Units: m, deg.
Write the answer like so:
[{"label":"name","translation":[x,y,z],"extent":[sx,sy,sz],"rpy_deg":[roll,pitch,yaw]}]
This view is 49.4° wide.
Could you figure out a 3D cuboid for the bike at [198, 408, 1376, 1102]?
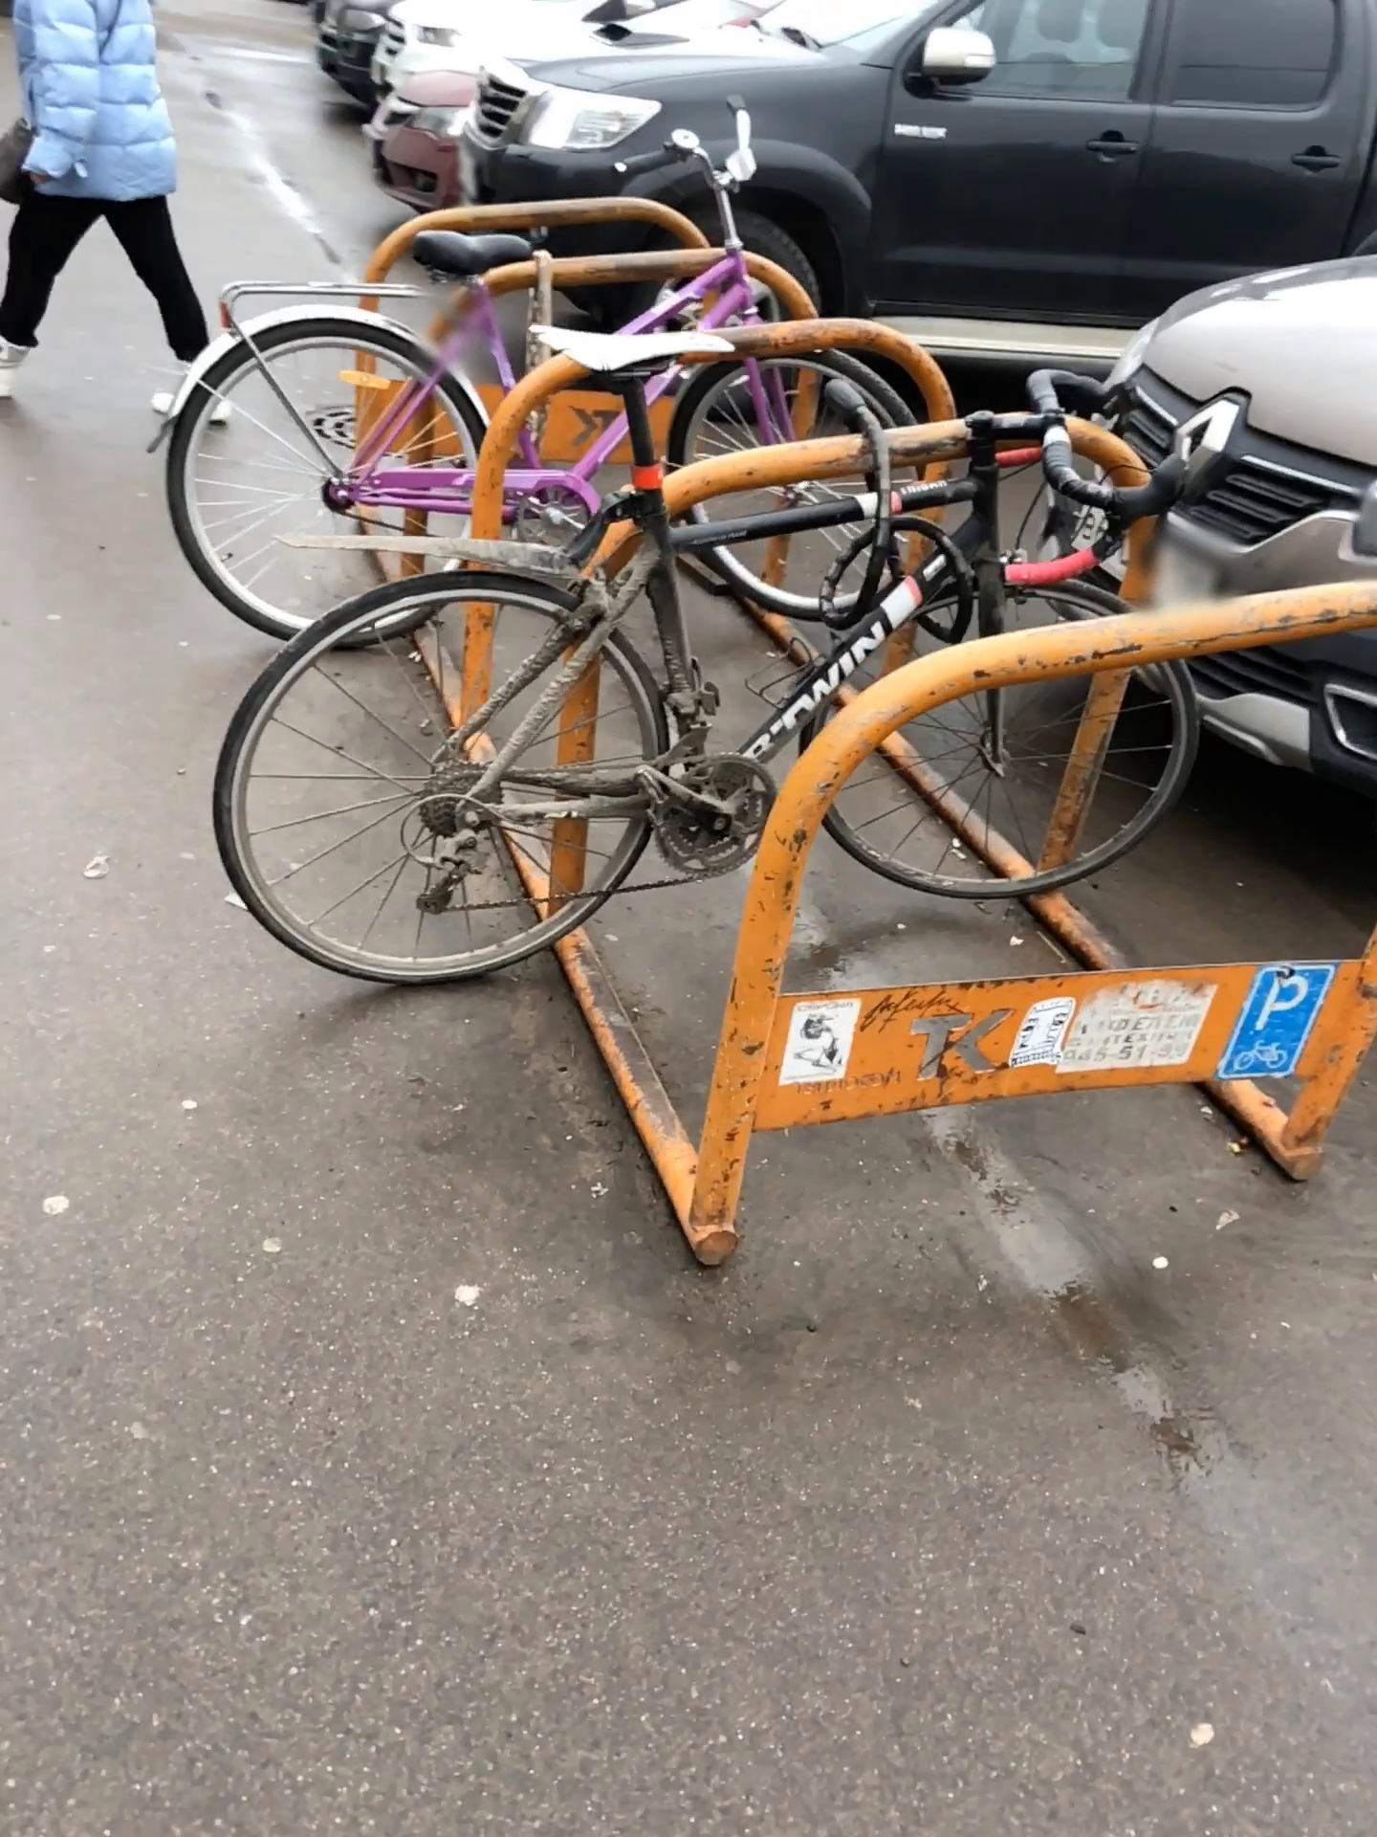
[{"label":"bike","translation":[0.107,-0.280,2.187],"extent":[1.516,0.761,0.492],"rpy_deg":[-5,33,-18]}]
